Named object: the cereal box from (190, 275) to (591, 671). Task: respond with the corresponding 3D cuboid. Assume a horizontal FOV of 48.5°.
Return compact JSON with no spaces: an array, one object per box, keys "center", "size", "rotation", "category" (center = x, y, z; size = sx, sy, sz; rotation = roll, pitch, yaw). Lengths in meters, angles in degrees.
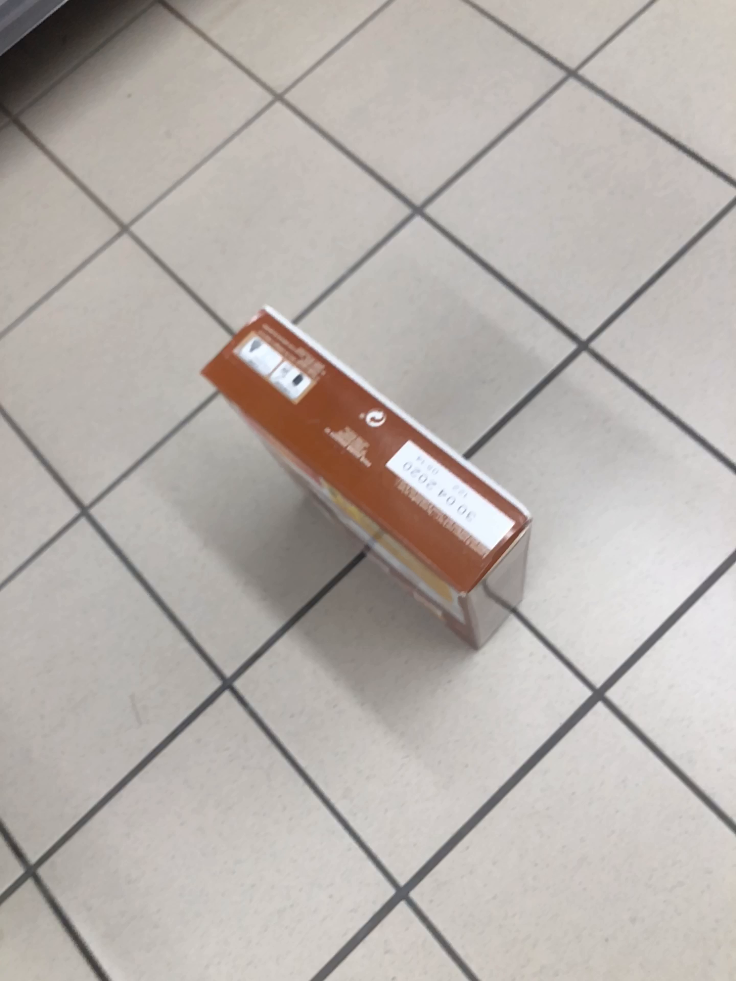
[{"center":[0.023,0.008,0.530],"size":[0.210,0.250,0.070],"rotation":[39,82,18],"category":"cereal box"}]
